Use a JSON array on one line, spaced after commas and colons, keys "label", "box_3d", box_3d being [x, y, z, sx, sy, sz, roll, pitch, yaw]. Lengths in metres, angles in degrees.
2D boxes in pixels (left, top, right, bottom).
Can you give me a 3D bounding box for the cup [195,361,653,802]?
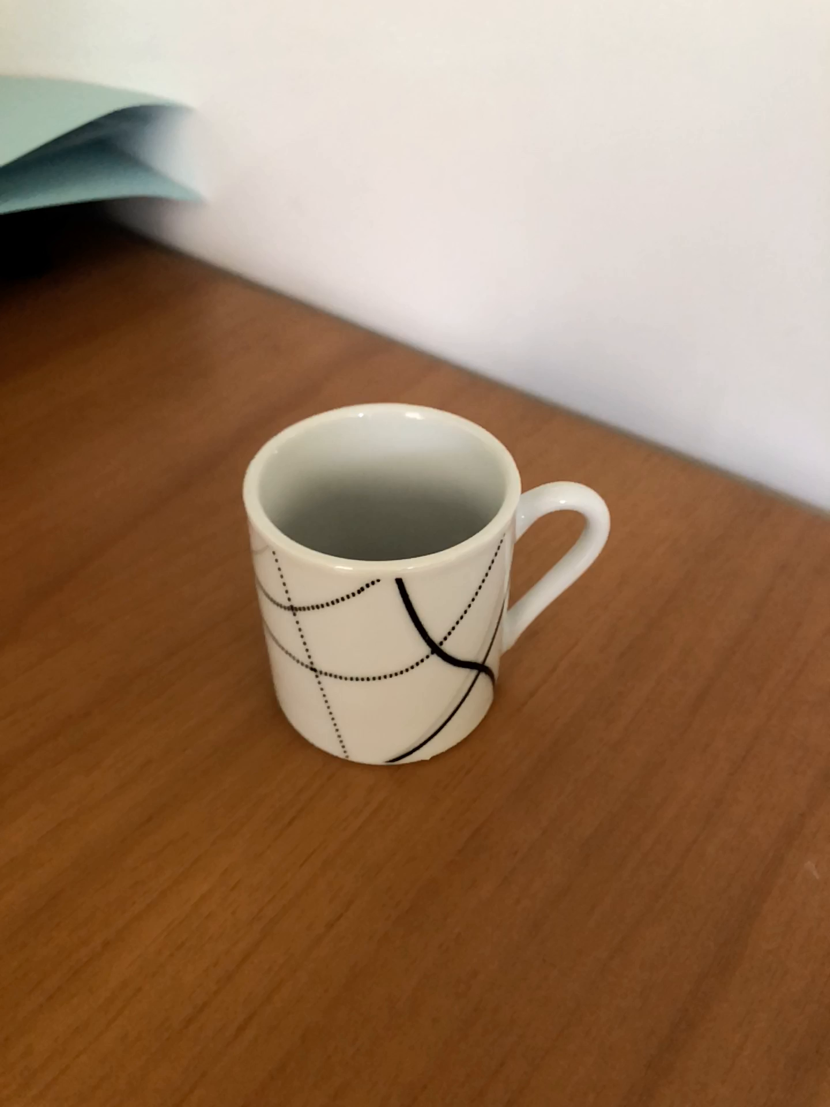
[{"label": "cup", "box_3d": [-0.003, 0.003, 0.183, 0.070, 0.050, 0.060, -7, 41, -10]}]
